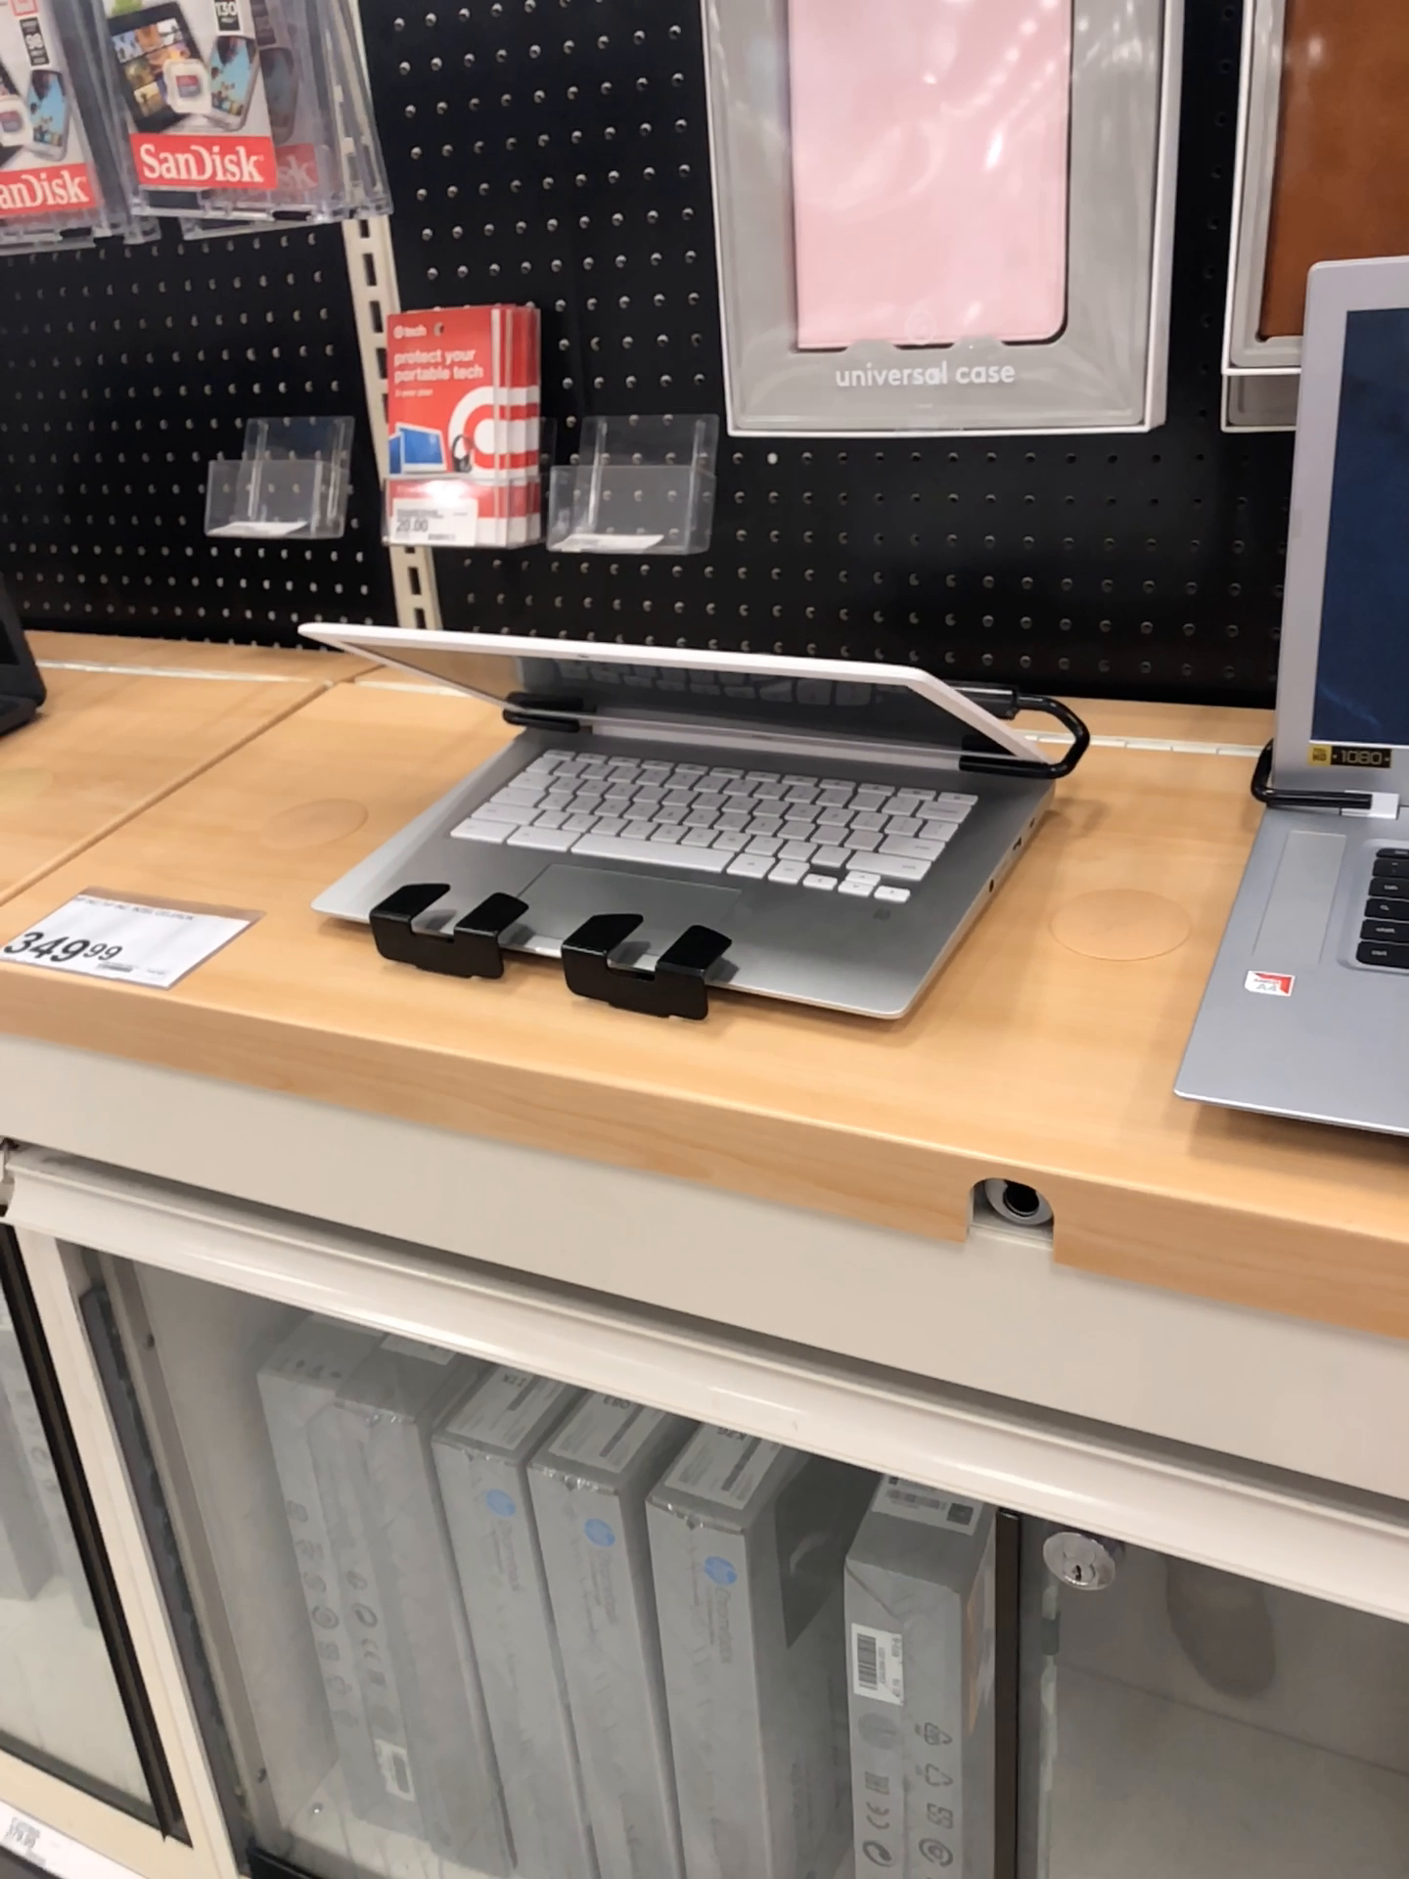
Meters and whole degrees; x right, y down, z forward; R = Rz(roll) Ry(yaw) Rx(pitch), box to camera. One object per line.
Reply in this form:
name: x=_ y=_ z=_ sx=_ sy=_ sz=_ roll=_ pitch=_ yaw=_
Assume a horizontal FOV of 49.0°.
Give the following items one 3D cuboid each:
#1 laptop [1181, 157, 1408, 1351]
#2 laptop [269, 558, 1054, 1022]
laptop: x=0.393 y=-0.100 z=0.538 sx=0.389 sy=0.244 sz=0.274 roll=7 pitch=31 yaw=25
laptop: x=-0.018 y=-0.096 z=0.782 sx=0.330 sy=0.100 sz=0.216 roll=10 pitch=36 yaw=28
